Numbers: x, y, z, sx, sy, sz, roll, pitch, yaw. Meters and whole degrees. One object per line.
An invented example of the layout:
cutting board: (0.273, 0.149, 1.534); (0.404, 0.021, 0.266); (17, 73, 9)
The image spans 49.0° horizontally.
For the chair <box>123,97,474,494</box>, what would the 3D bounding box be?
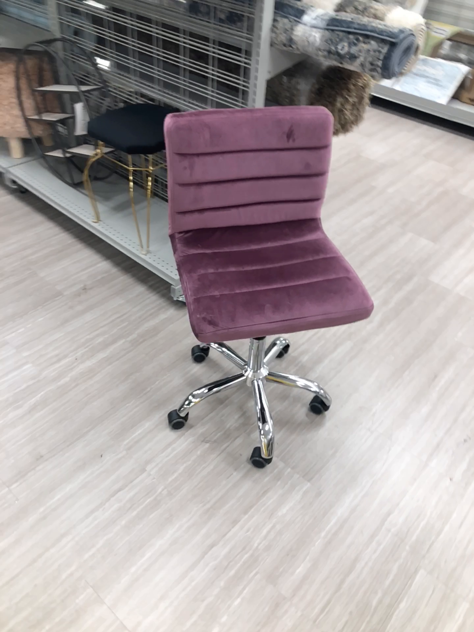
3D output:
chair: (0.061, -0.065, 1.385); (0.588, 0.800, 0.579); (-8, 43, -16)
